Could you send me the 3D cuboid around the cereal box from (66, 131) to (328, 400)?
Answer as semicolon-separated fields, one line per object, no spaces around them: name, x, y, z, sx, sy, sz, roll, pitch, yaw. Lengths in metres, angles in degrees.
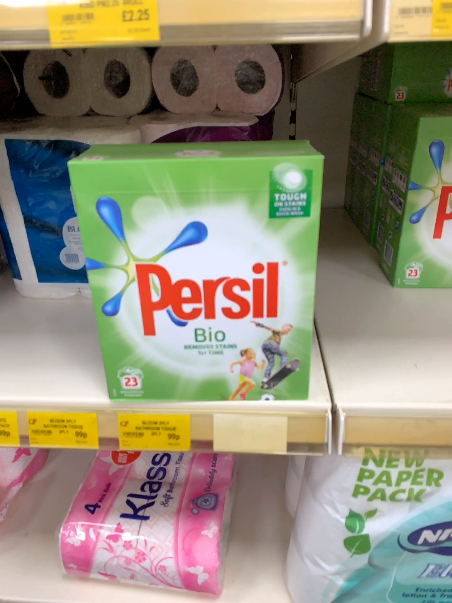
cereal box;-0.018;-0.030;0.442;0.200;0.238;0.091;-1;27;2
